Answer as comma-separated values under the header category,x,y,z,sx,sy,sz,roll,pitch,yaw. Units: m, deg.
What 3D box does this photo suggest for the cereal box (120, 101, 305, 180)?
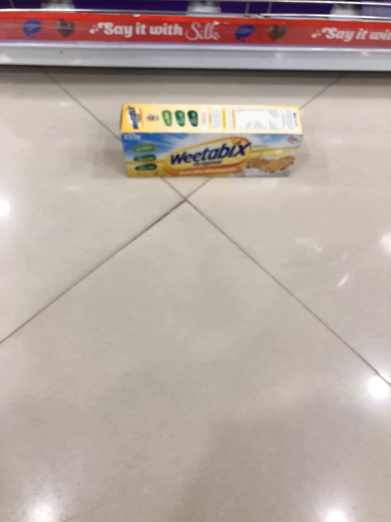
category,x,y,z,sx,sy,sz,roll,pitch,yaw
cereal box,0.021,-0.174,0.643,0.250,0.100,0.060,0,64,-3
